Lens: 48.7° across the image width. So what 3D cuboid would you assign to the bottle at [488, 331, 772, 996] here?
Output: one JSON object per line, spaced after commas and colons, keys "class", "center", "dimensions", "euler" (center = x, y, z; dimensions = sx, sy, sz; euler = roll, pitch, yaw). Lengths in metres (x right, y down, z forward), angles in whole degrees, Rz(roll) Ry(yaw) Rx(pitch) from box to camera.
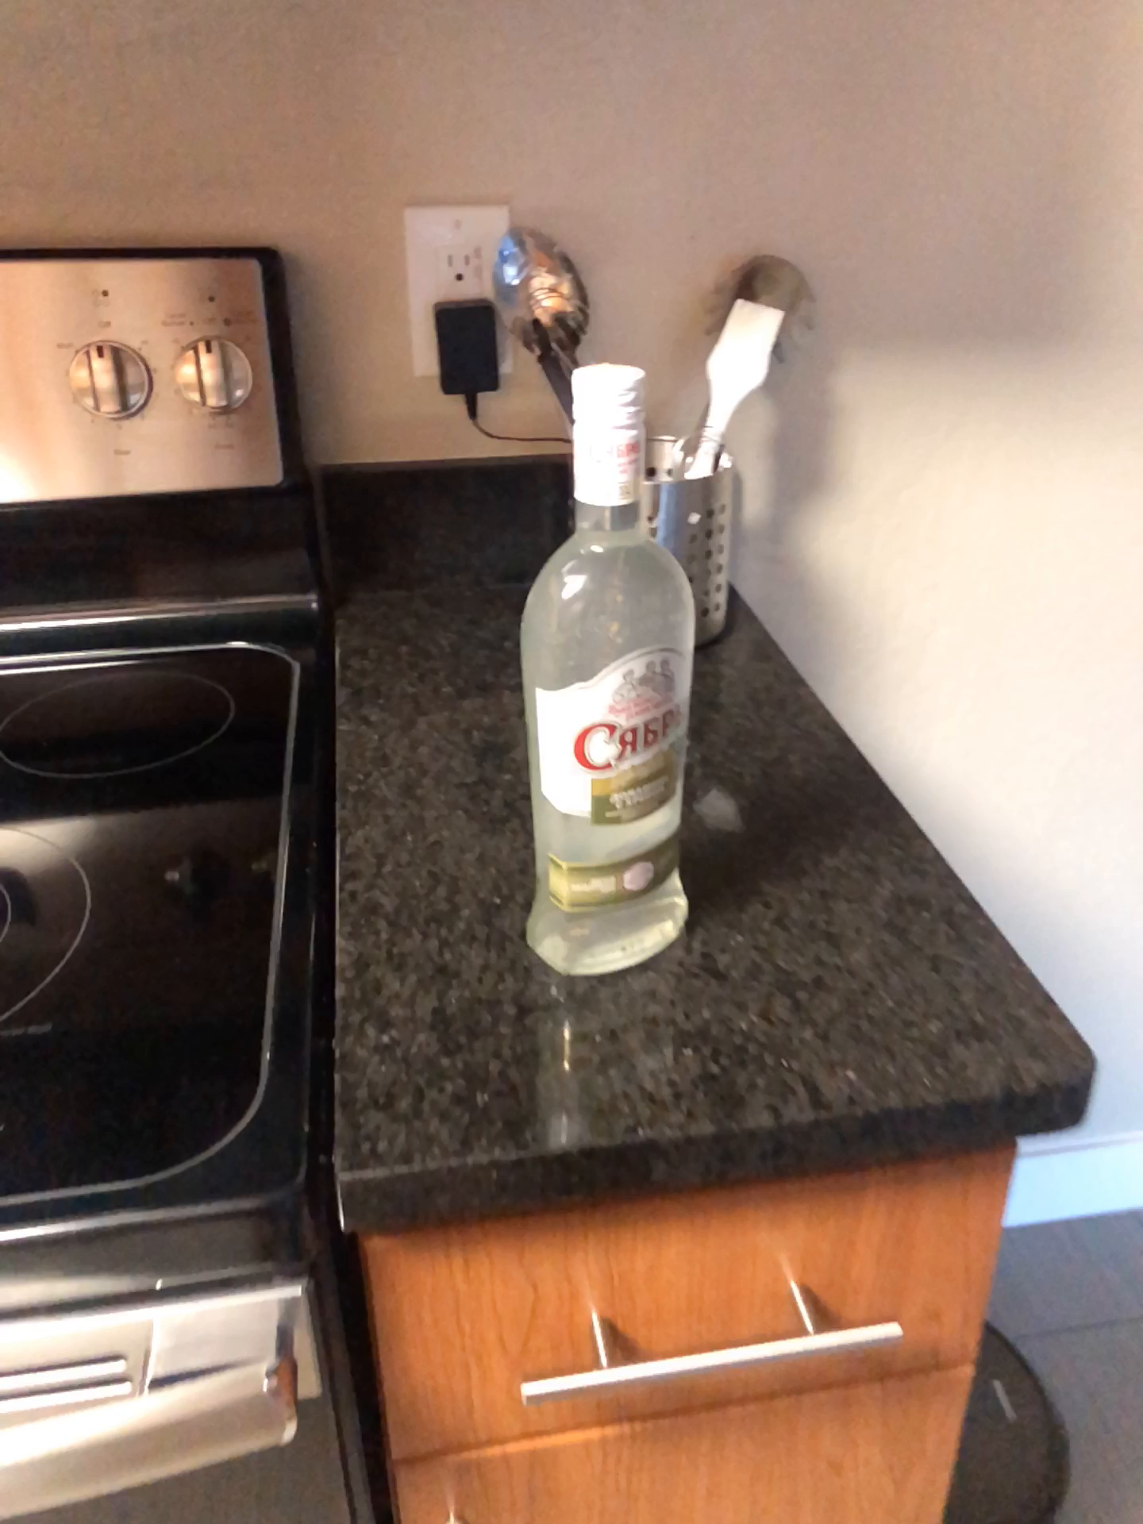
{"class": "bottle", "center": [0.023, -0.037, 0.544], "dimensions": [0.090, 0.269, 0.060], "euler": [-15, 31, -26]}
